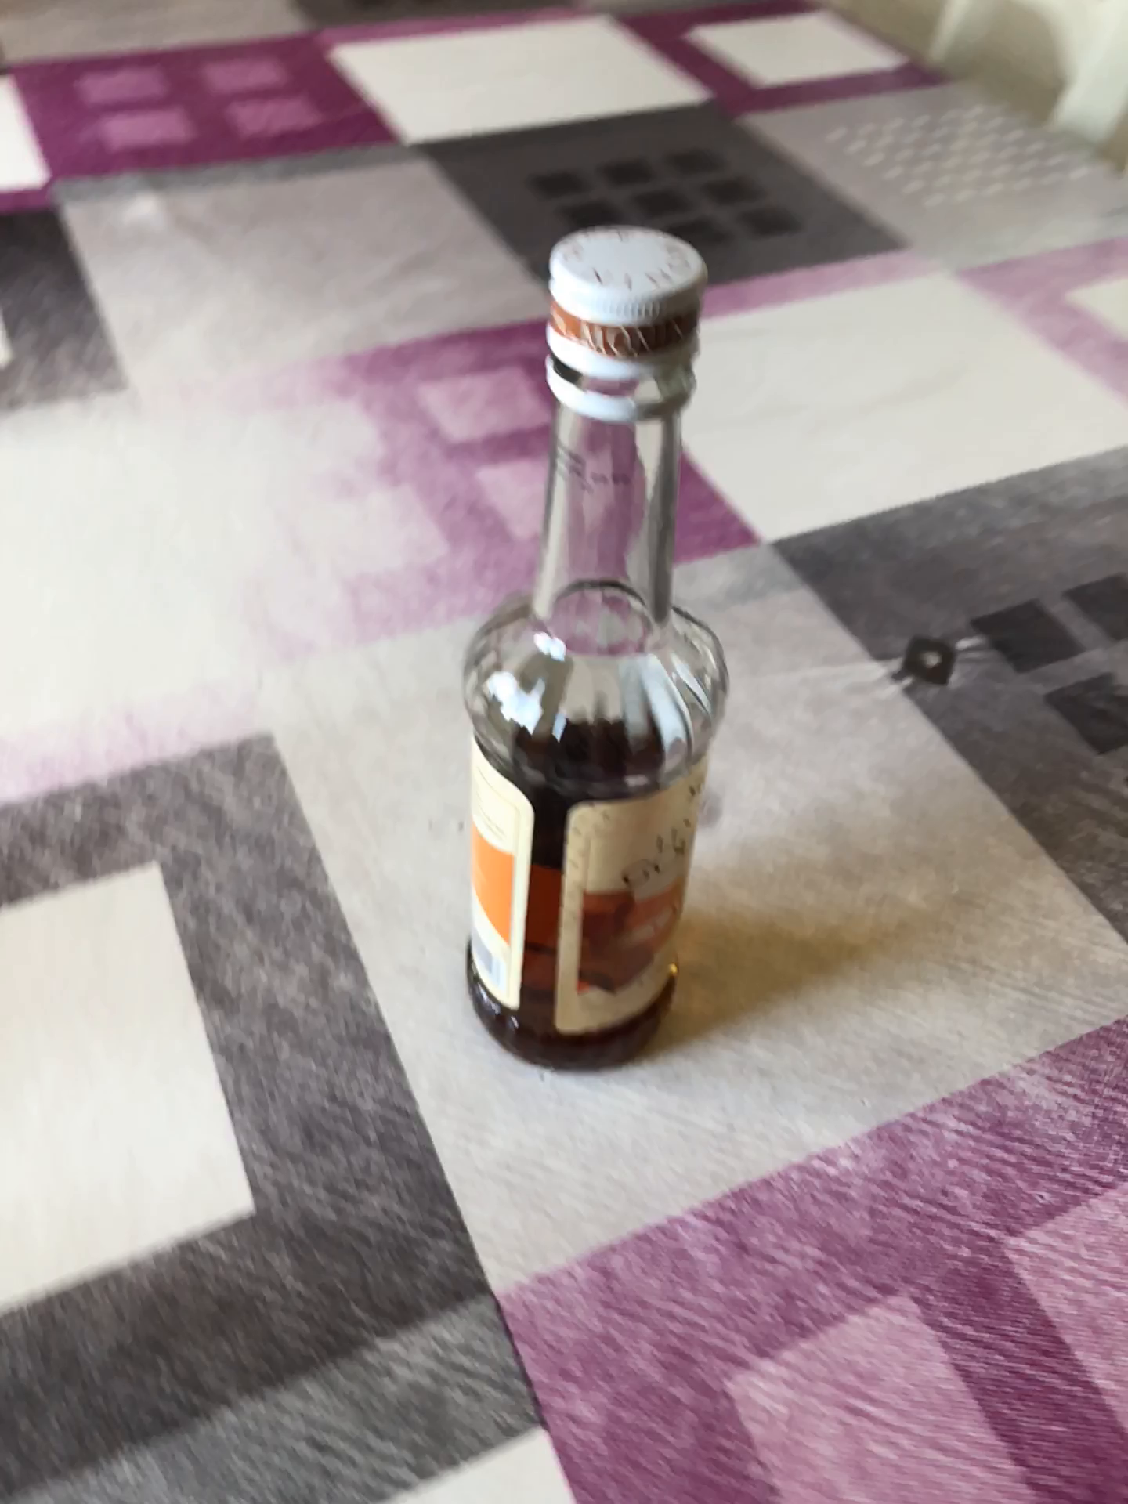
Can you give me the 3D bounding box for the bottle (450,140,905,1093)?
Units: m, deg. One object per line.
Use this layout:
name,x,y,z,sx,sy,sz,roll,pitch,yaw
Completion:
bottle,0.013,-0.009,0.303,0.070,0.239,0.070,1,46,-1
